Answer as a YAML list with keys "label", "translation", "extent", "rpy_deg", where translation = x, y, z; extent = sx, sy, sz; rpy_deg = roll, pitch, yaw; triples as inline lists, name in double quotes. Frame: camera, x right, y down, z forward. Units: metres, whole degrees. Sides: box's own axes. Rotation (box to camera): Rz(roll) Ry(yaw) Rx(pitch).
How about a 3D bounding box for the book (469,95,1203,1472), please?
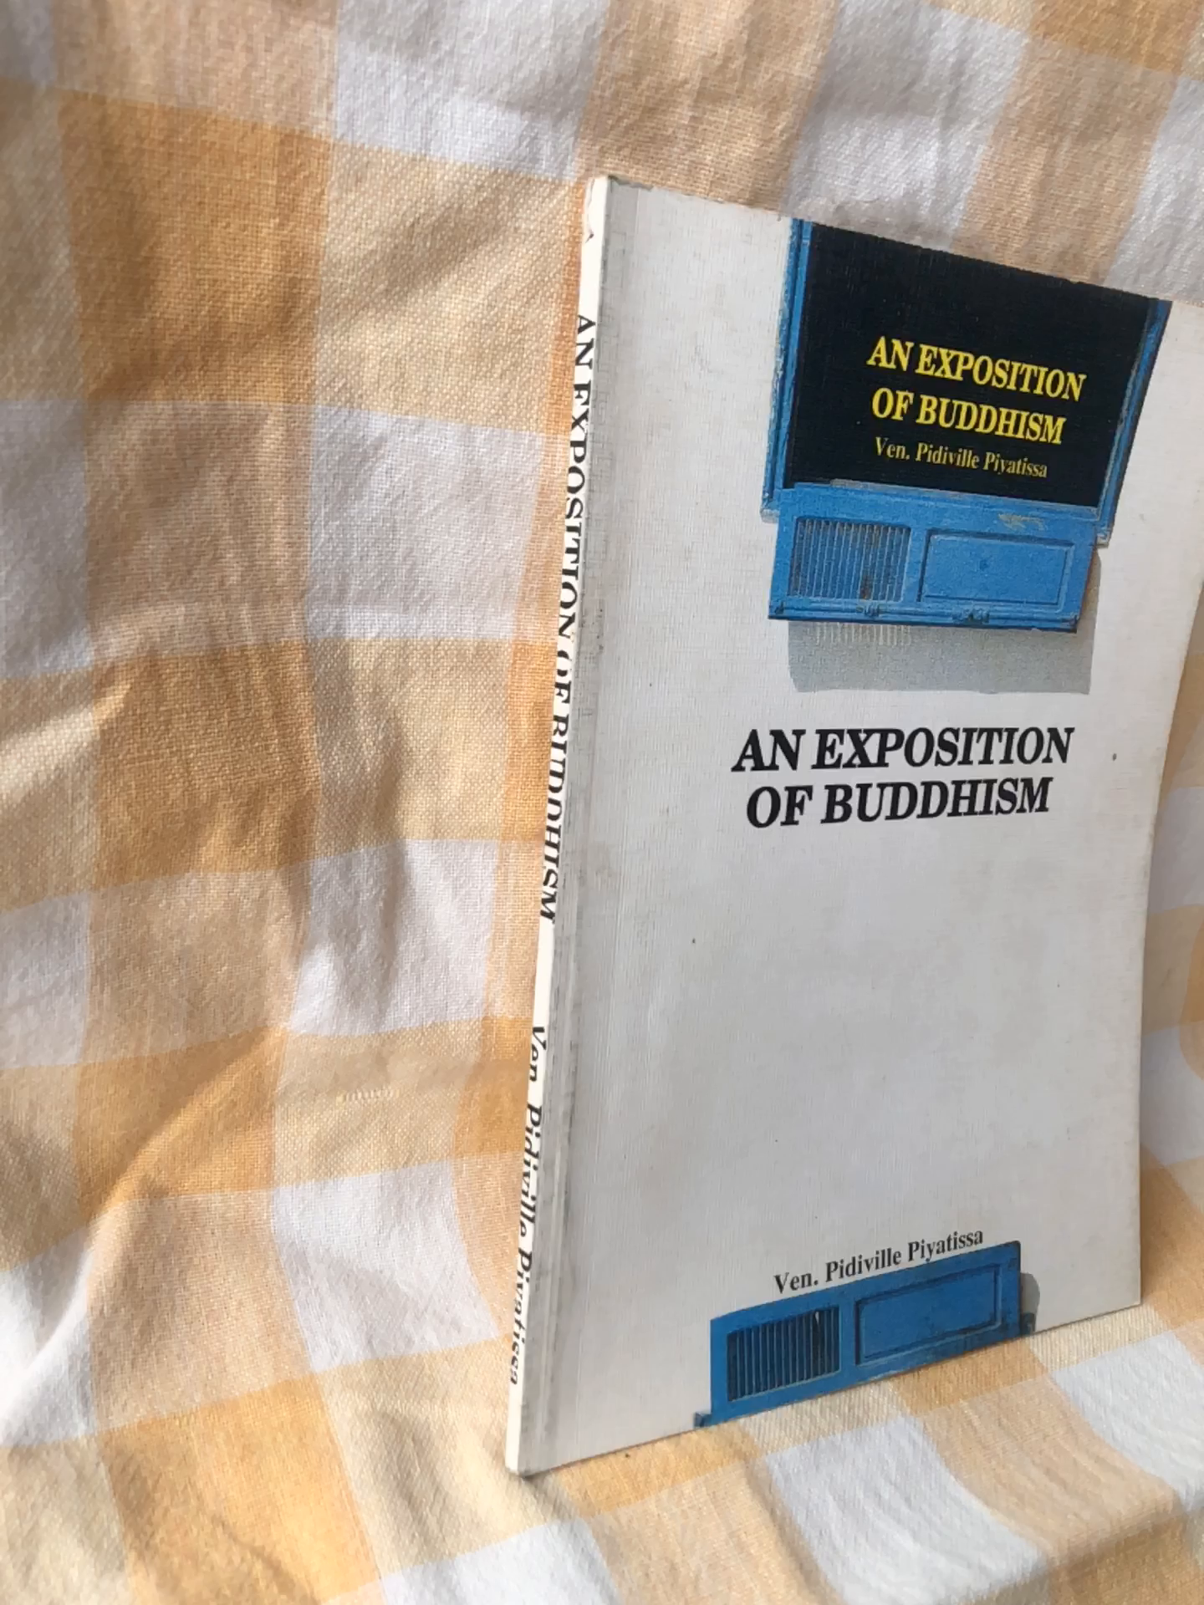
- label: "book"
  translation: [0.051, 0.002, 0.231]
  extent: [0.140, 0.200, 0.020]
  rpy_deg: [-2, 12, -27]
